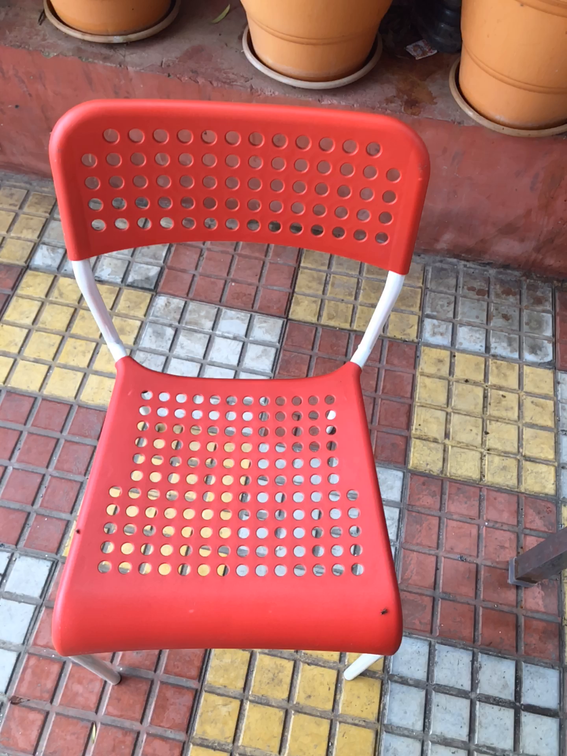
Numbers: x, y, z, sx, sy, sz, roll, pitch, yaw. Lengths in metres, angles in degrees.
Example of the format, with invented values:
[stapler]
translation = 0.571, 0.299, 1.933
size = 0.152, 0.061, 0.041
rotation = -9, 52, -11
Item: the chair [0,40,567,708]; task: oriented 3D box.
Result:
[chair]
translation = -0.080, 0.097, 0.770
size = 0.450, 0.697, 0.542
rotation = 2, 62, -4
